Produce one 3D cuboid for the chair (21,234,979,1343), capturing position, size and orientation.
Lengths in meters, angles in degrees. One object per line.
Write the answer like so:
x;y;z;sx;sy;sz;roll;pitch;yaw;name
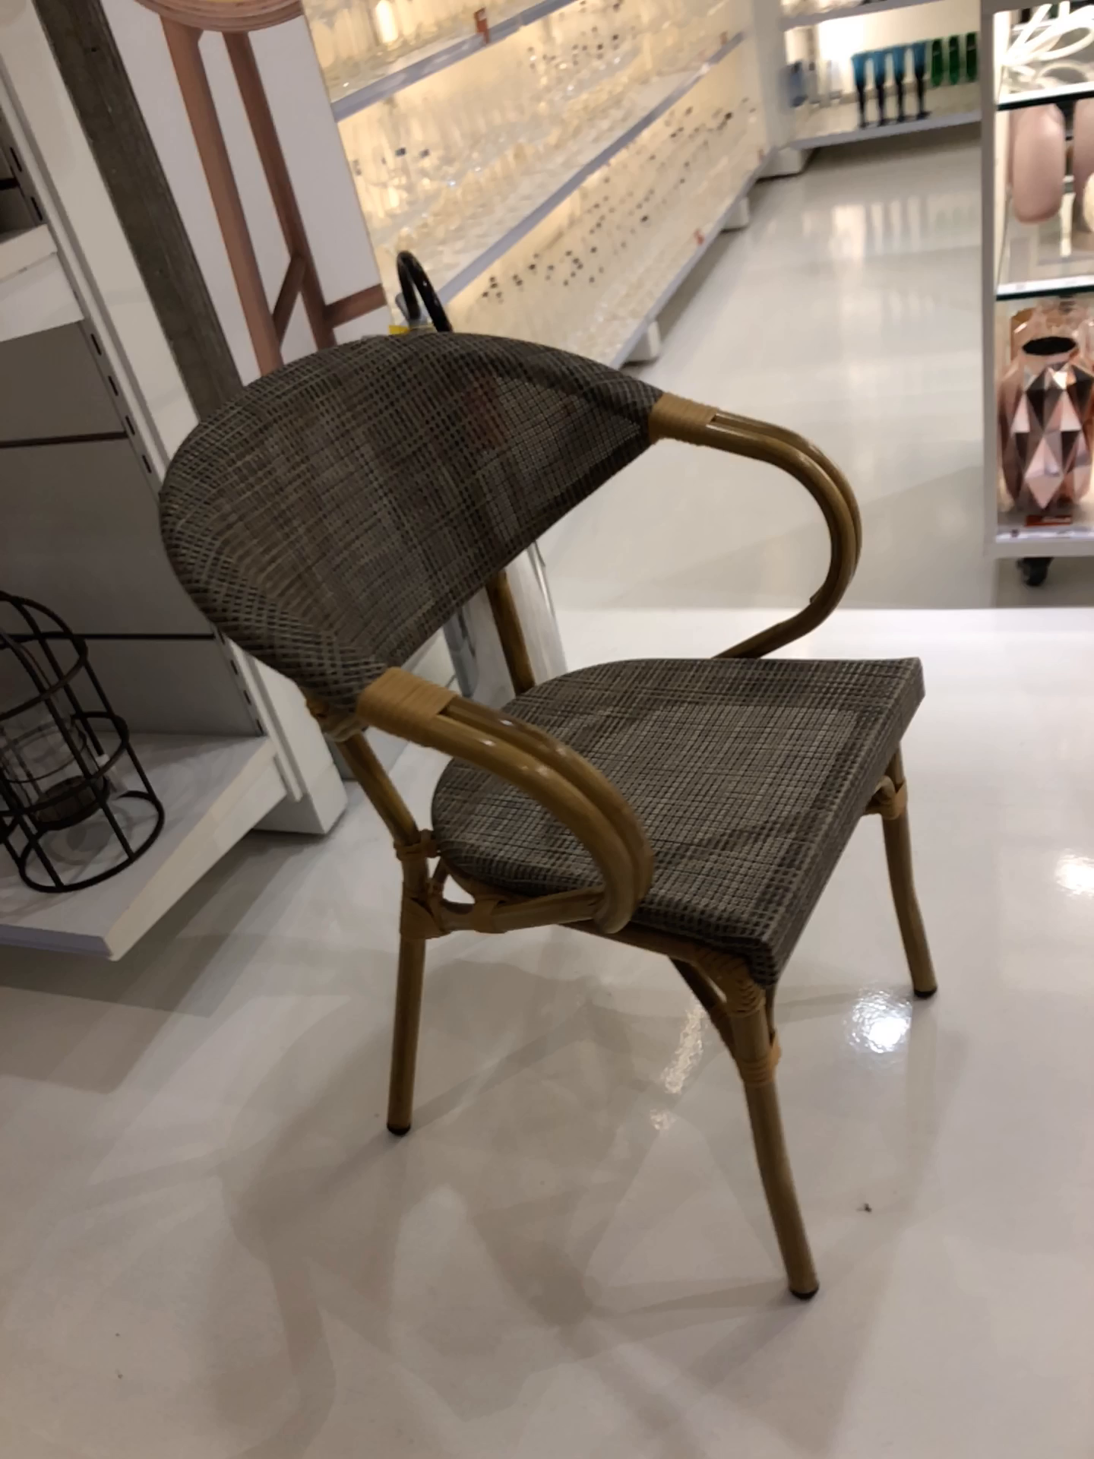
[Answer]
0.048;0.031;1.164;0.571;0.784;0.523;9;40;31;chair
